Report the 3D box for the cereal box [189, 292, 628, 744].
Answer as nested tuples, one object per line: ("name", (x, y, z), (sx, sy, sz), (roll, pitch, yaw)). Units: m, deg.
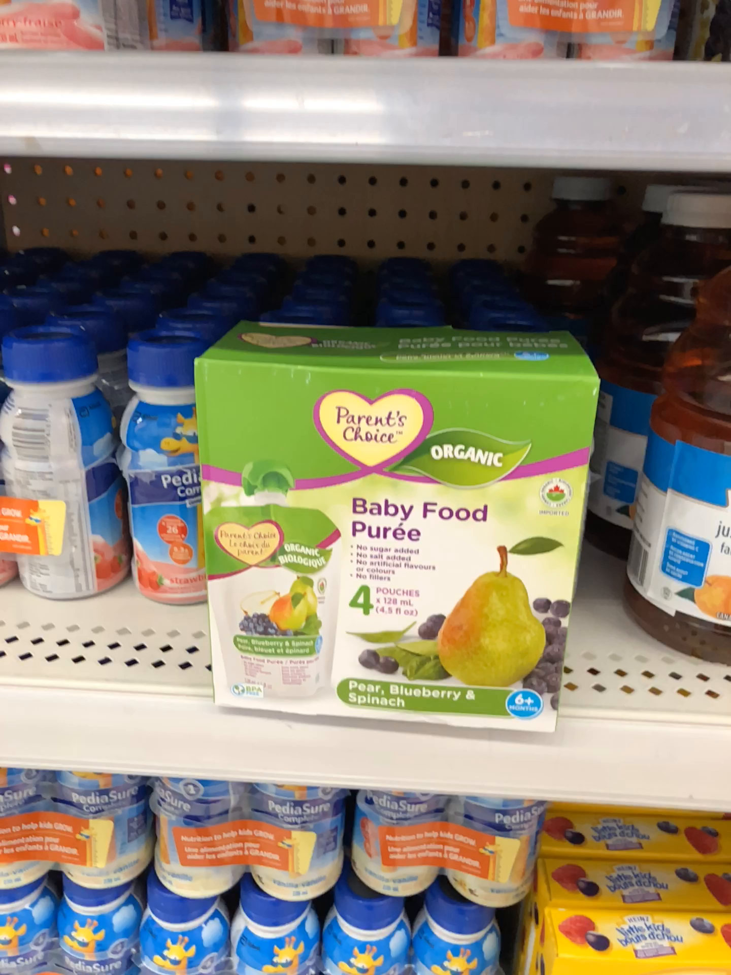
("cereal box", (0.013, 0.009, 0.349), (0.150, 0.159, 0.091), (4, 23, 3))
